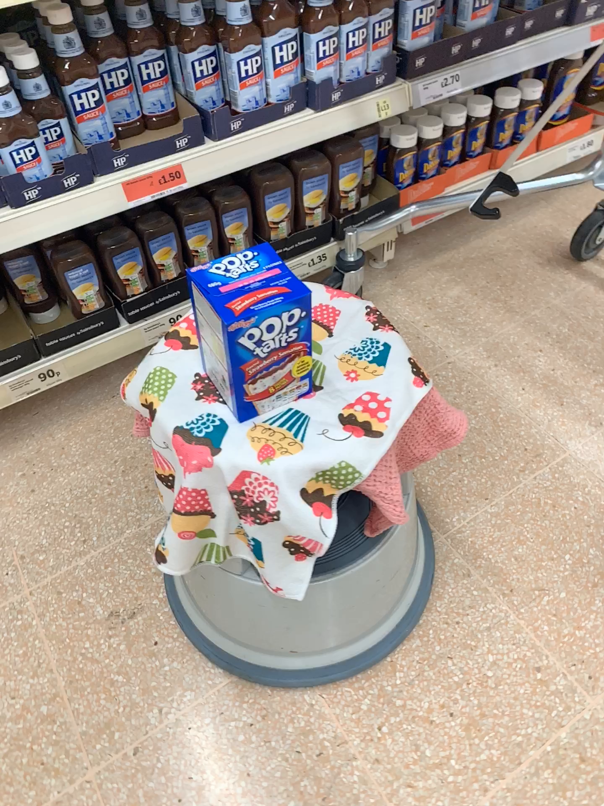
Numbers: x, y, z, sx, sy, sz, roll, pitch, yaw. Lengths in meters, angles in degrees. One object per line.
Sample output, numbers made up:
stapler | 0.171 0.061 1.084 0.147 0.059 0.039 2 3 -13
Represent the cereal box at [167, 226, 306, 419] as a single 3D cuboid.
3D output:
cereal box | -0.062 -0.080 0.621 0.090 0.139 0.101 -23 51 -17
